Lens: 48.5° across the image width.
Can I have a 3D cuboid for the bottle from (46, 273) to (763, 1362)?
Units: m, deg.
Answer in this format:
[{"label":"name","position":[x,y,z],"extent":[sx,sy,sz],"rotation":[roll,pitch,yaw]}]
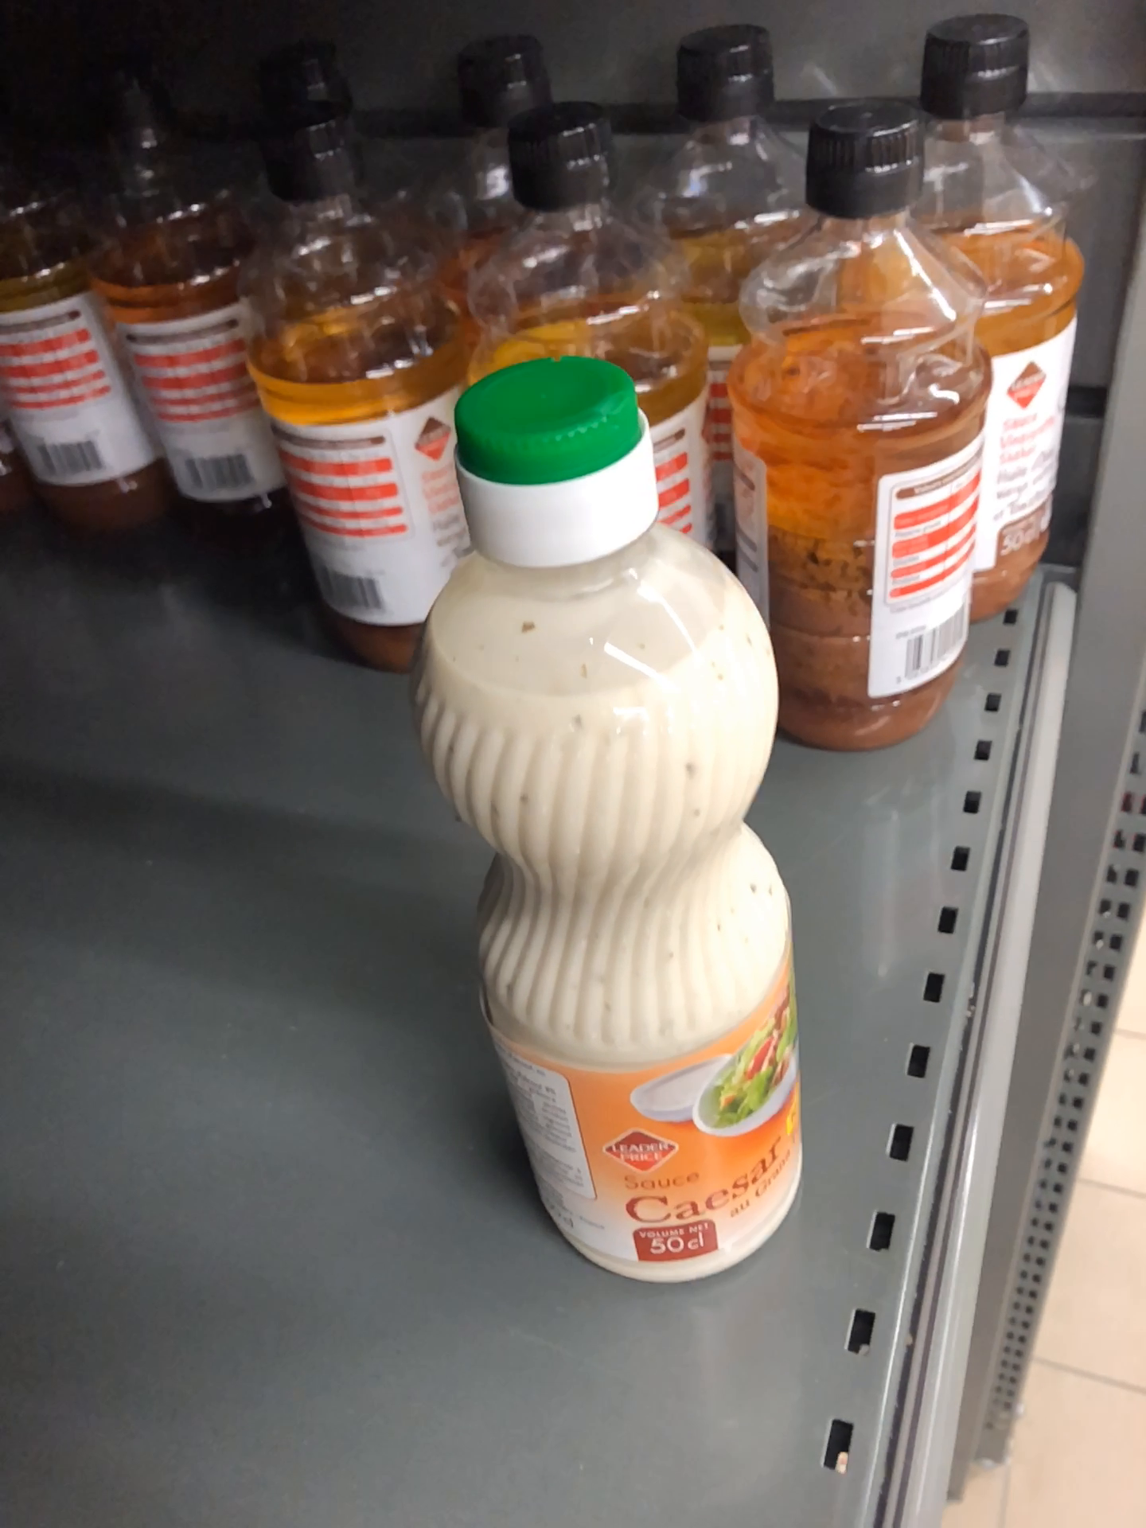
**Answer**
[{"label":"bottle","position":[-0.011,0.026,0.271],"extent":[0.080,0.229,0.081],"rotation":[-5,41,4]}]
